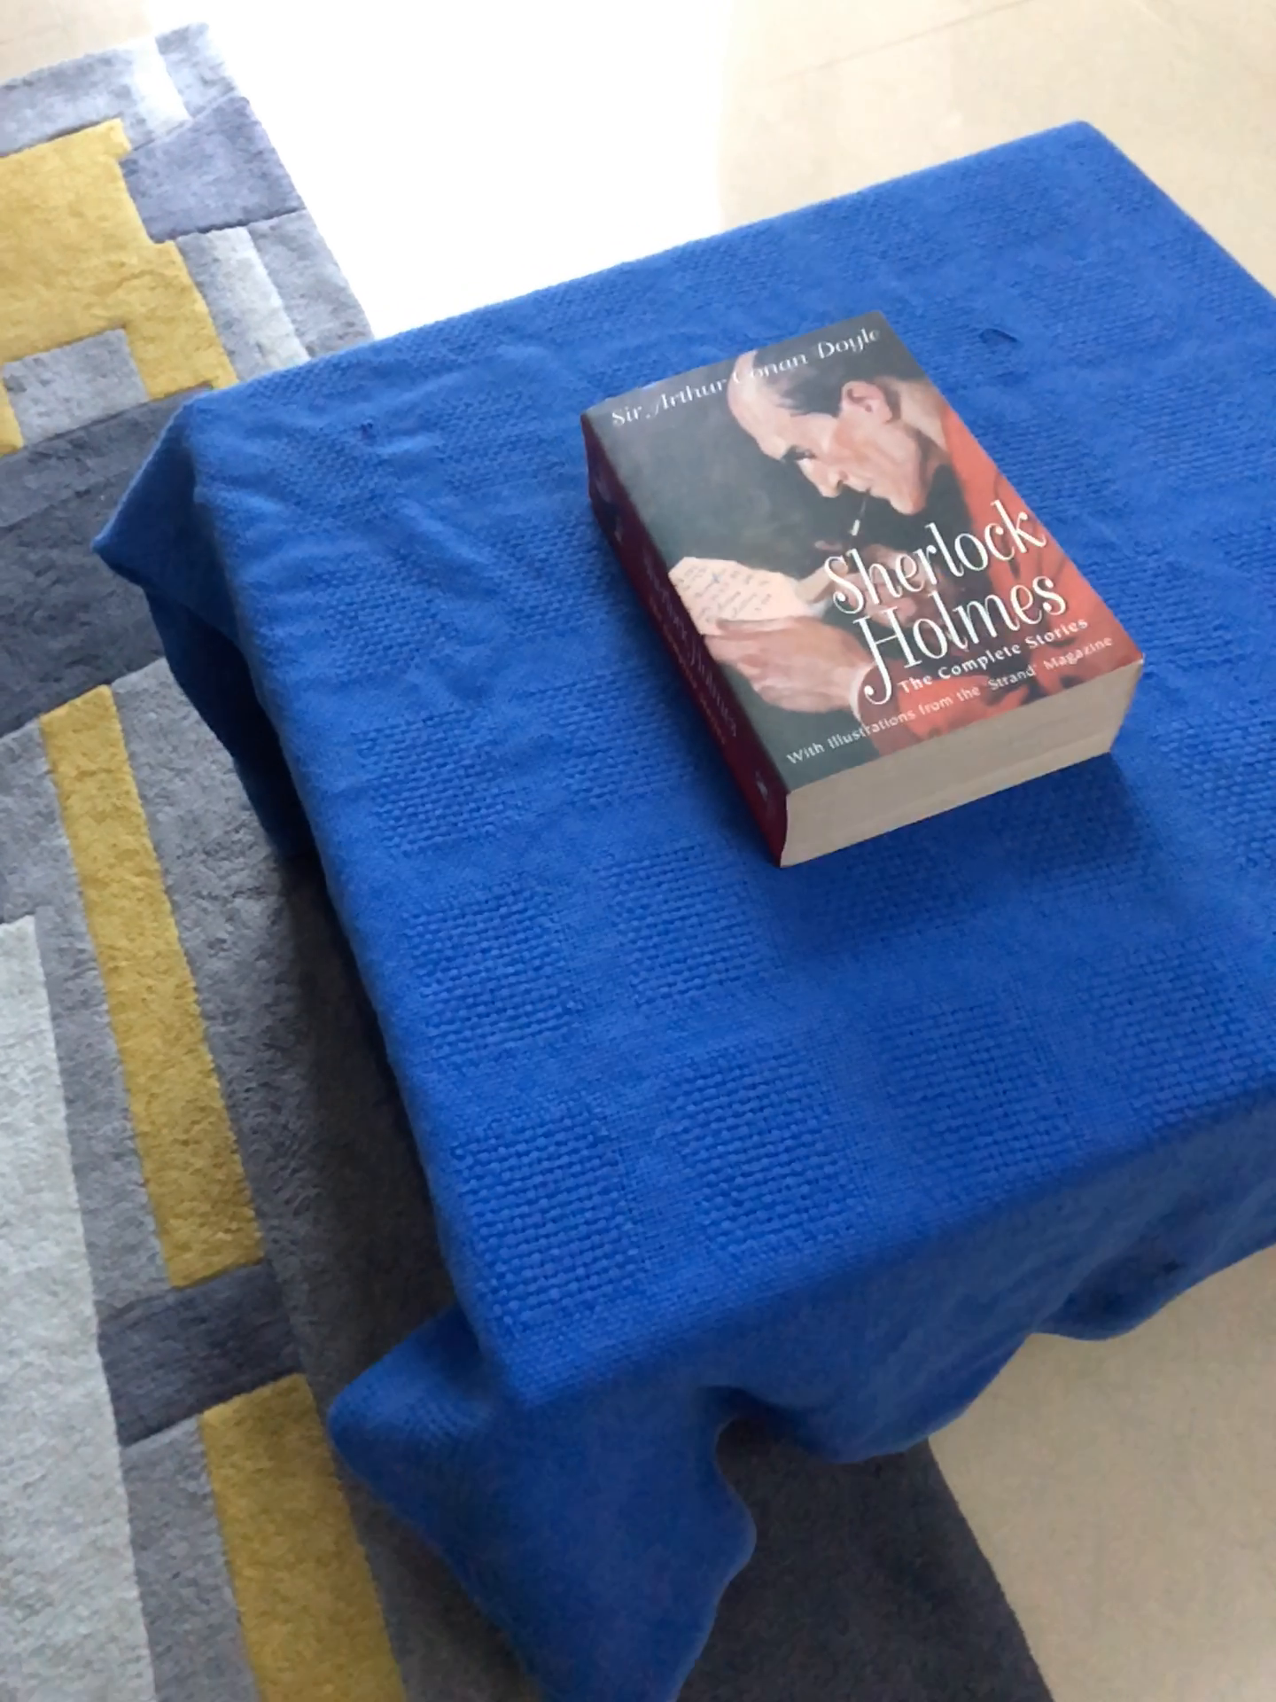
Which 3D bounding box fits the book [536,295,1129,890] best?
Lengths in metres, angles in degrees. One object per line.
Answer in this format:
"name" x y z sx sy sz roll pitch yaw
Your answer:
"book" 0.074 -0.123 0.620 0.160 0.070 0.241 -20 58 -7
